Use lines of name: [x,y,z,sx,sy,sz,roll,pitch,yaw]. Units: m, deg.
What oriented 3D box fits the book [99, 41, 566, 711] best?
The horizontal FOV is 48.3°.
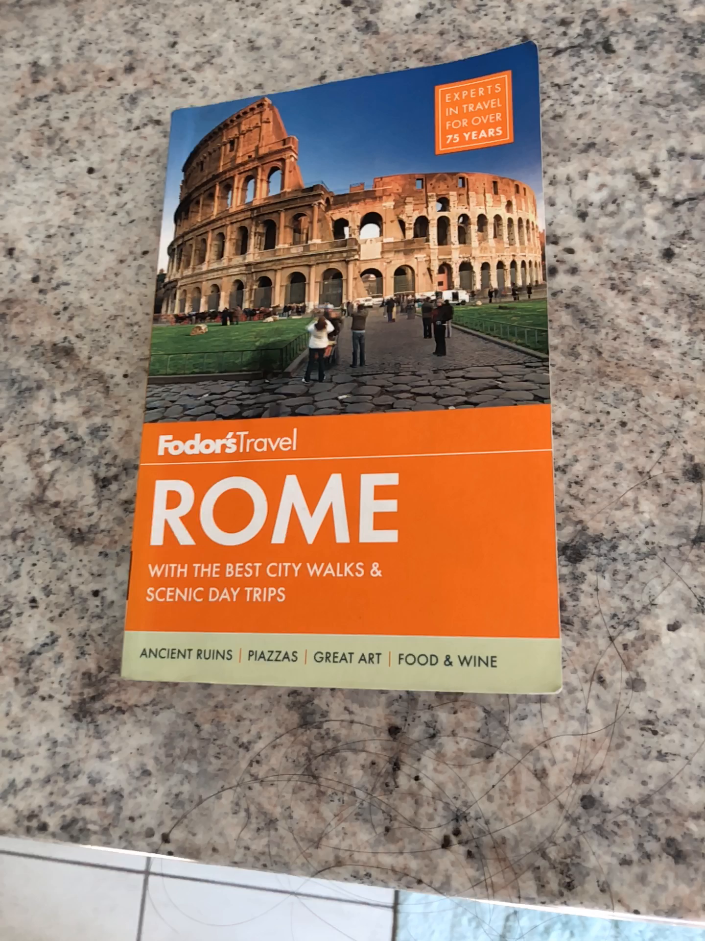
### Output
book: [-0.005,-0.033,0.259,0.139,0.024,0.207,-2,76,15]
